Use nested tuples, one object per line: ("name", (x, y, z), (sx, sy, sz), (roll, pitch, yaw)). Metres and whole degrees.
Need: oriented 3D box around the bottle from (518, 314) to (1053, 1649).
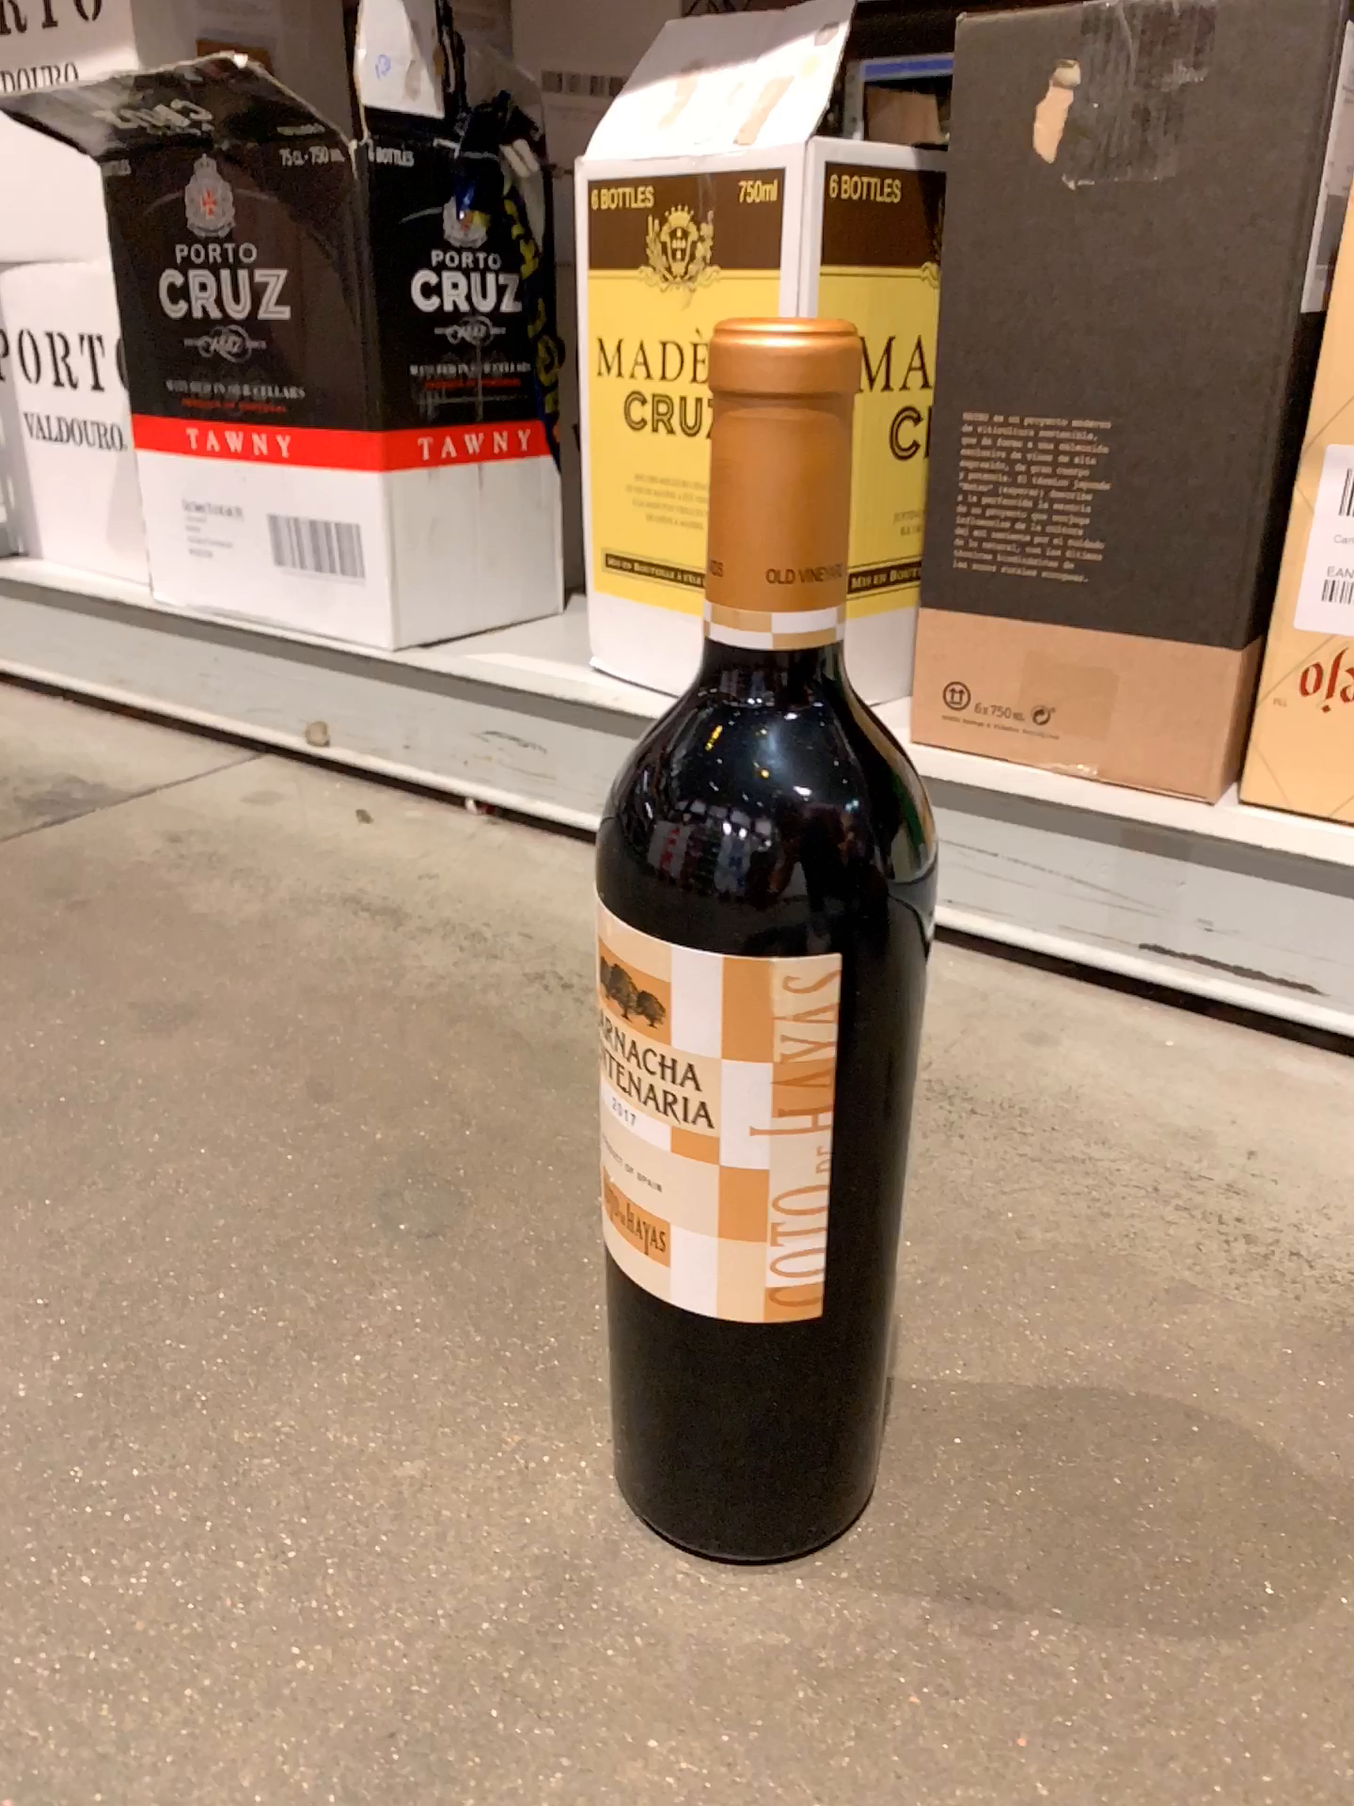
("bottle", (0.022, 0.026, 0.350), (0.080, 0.317, 0.080), (1, 24, 0))
